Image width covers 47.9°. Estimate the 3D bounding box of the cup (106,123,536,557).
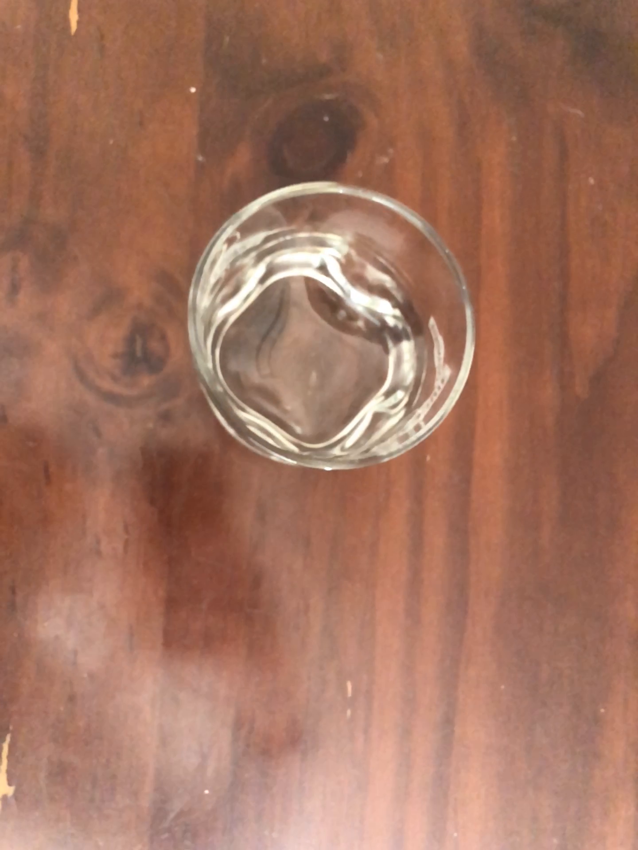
[{"bbox_3d":[-0.003,-0.021,0.228,0.081,0.081,0.082,0,87,-8],"label":"cup"}]
